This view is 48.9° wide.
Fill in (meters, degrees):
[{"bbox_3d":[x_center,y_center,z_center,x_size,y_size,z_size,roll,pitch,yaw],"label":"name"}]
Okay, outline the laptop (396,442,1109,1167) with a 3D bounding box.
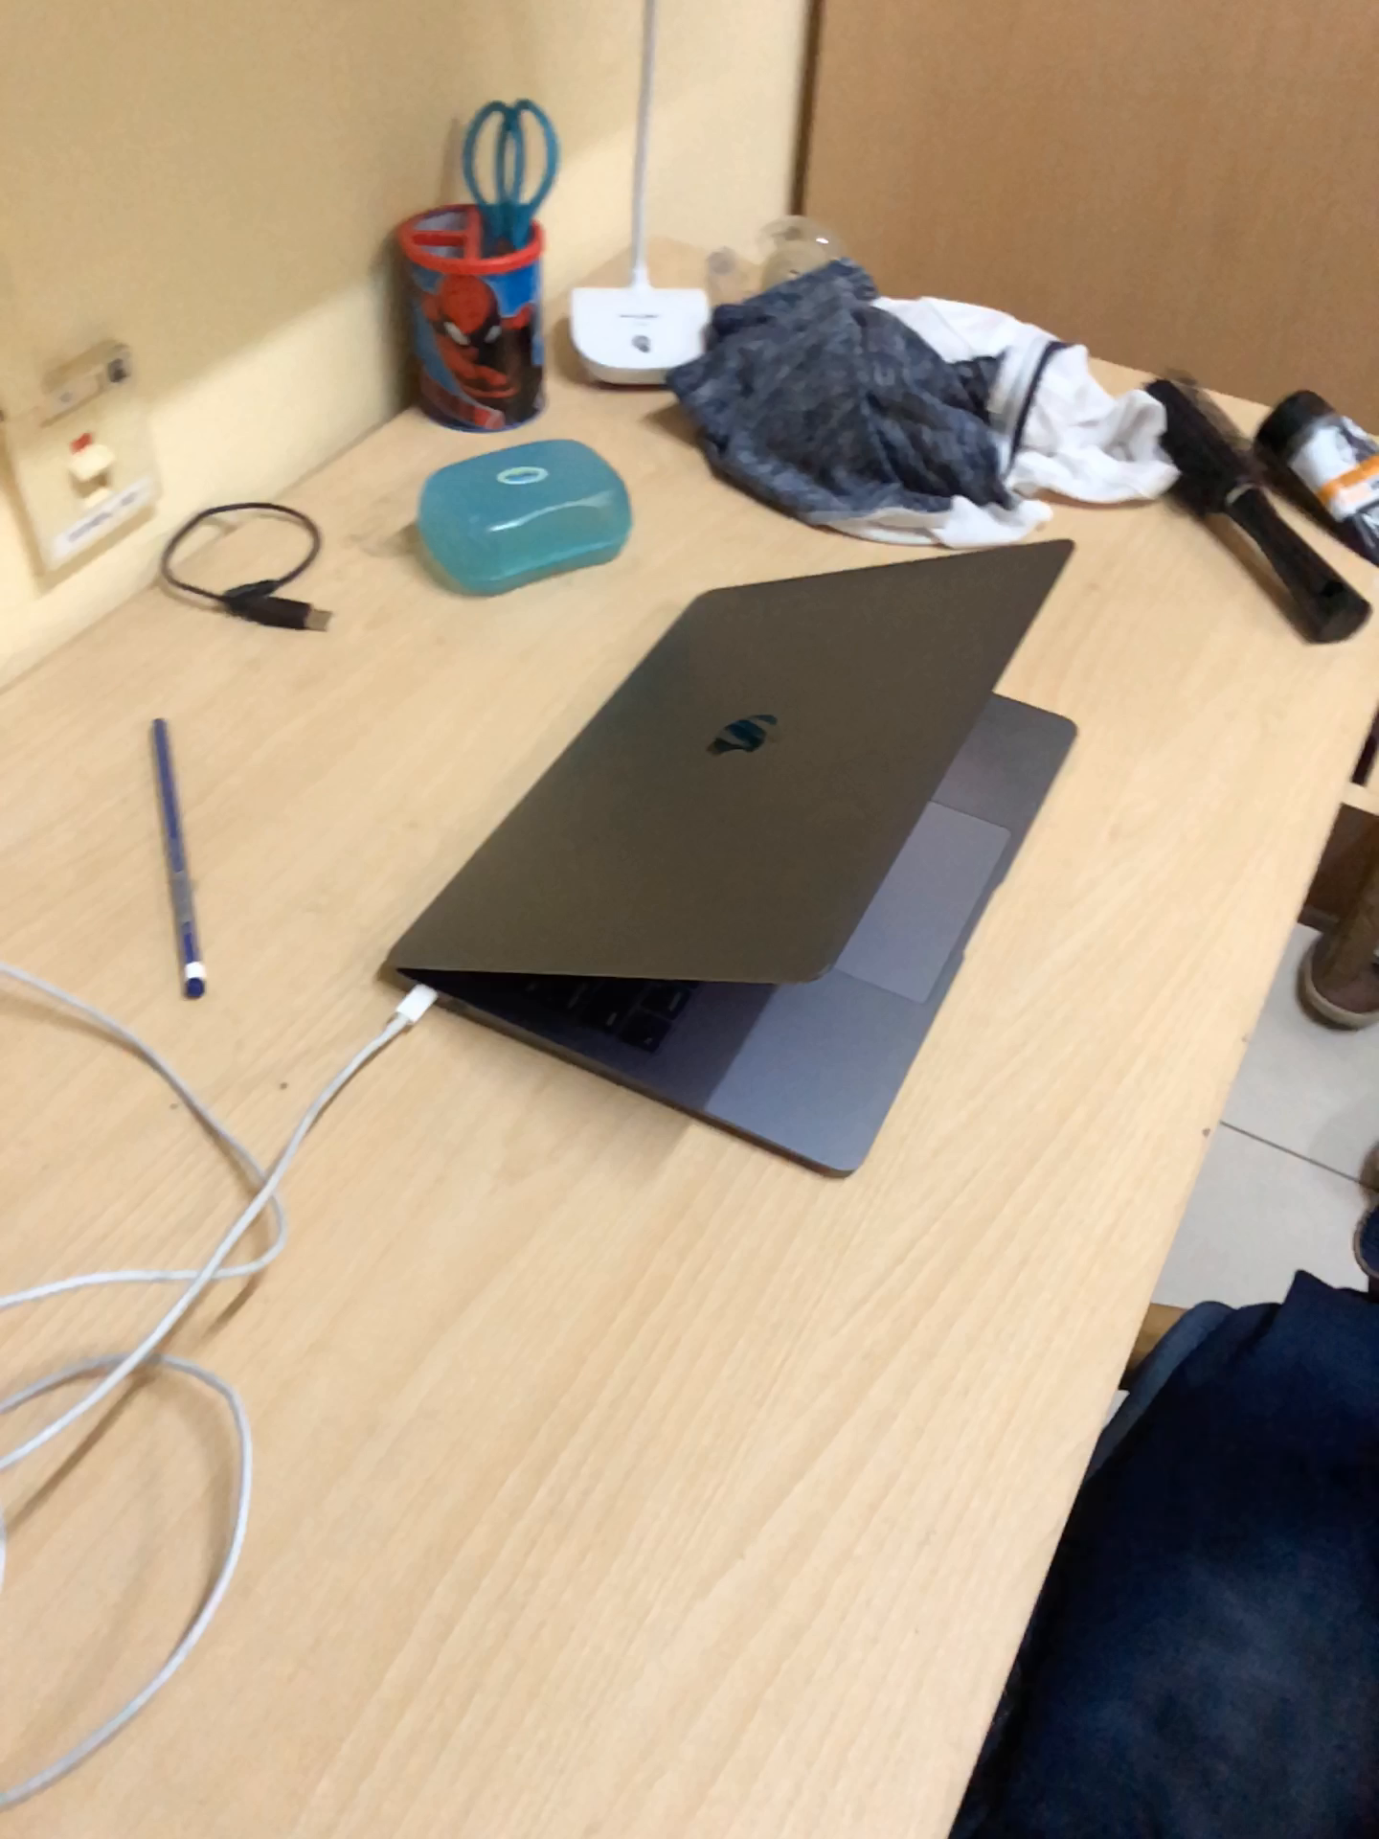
[{"bbox_3d":[0.040,-0.070,0.659,0.193,0.094,0.296,22,50,15],"label":"laptop"}]
